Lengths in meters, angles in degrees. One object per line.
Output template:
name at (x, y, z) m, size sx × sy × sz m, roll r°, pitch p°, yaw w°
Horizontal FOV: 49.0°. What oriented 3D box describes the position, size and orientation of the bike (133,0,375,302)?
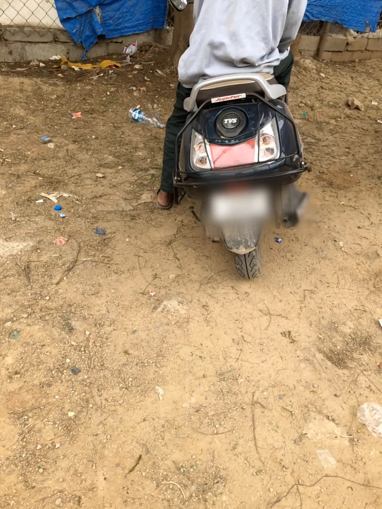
bike at (0.210, -0.821, 1.909) m, size 0.634 × 1.119 × 1.351 m, roll 9°, pitch 42°, yaw 3°
